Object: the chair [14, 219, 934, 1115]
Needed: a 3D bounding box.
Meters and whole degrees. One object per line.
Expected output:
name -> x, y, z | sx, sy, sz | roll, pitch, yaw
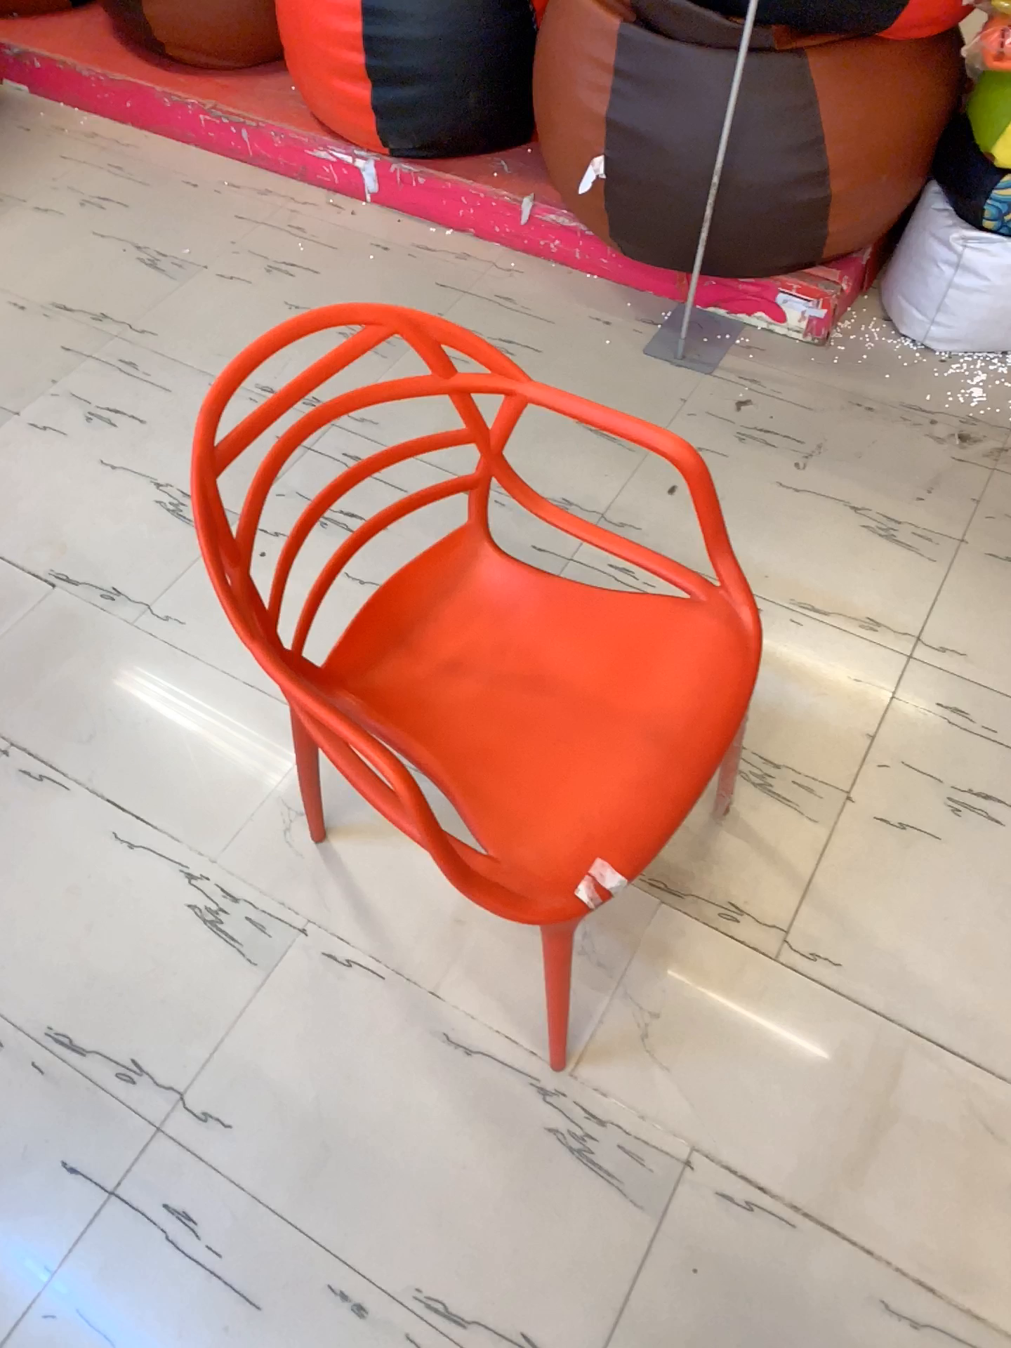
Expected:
chair -> -0.011, 0.001, 1.191 | 0.632, 0.656, 0.552 | 28, 59, 20
